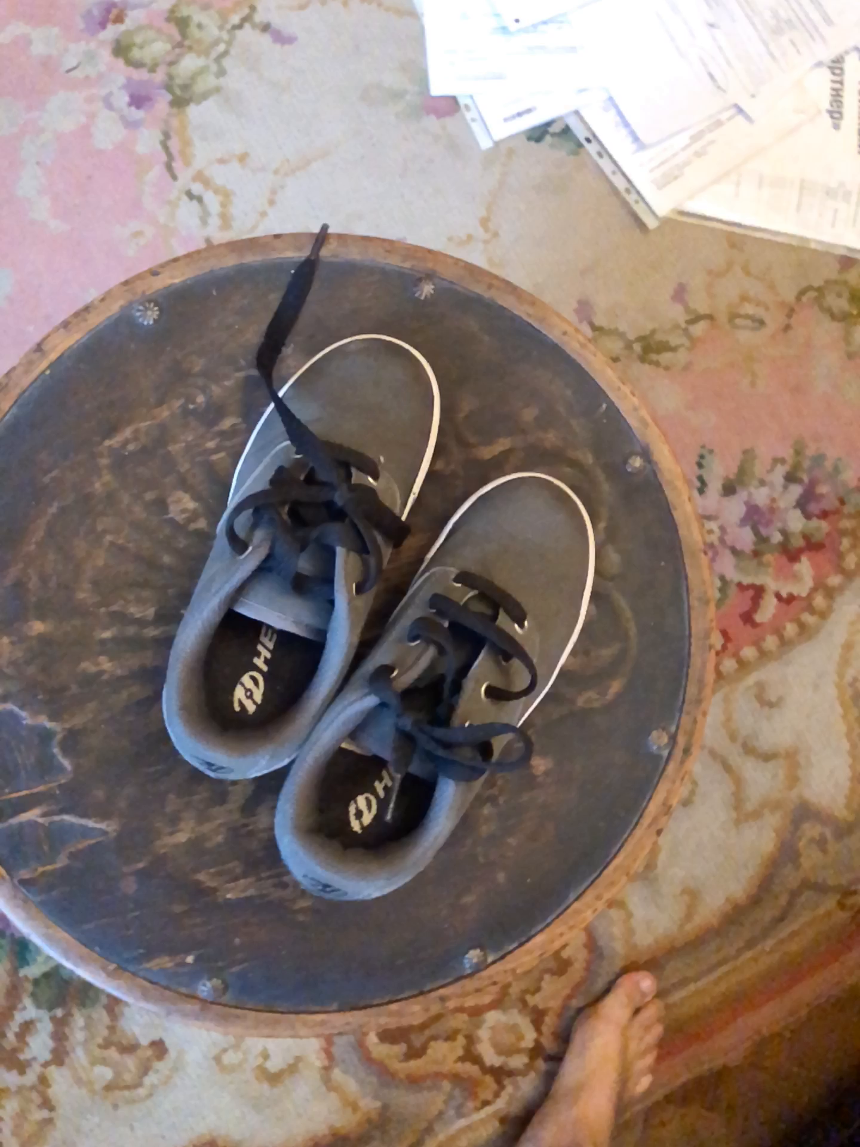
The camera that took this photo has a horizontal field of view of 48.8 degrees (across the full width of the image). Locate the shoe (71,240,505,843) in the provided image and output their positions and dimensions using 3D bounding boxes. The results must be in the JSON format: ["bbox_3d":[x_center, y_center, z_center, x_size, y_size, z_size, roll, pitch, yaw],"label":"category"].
[{"bbox_3d":[-0.055,-0.011,0.408,0.090,0.100,0.211,22,84,-4],"label":"shoe"}]

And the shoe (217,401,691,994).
[{"bbox_3d":[0.008,0.048,0.417,0.090,0.100,0.211,31,83,-3],"label":"shoe"}]
